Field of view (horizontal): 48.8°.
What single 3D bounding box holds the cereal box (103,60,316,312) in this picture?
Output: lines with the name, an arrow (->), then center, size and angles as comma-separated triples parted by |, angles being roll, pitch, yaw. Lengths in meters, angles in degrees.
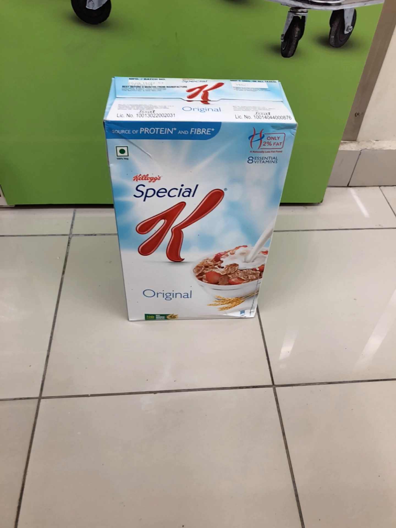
cereal box -> 0.002, -0.077, 0.552 | 0.200, 0.308, 0.101 | -1, 46, -5
